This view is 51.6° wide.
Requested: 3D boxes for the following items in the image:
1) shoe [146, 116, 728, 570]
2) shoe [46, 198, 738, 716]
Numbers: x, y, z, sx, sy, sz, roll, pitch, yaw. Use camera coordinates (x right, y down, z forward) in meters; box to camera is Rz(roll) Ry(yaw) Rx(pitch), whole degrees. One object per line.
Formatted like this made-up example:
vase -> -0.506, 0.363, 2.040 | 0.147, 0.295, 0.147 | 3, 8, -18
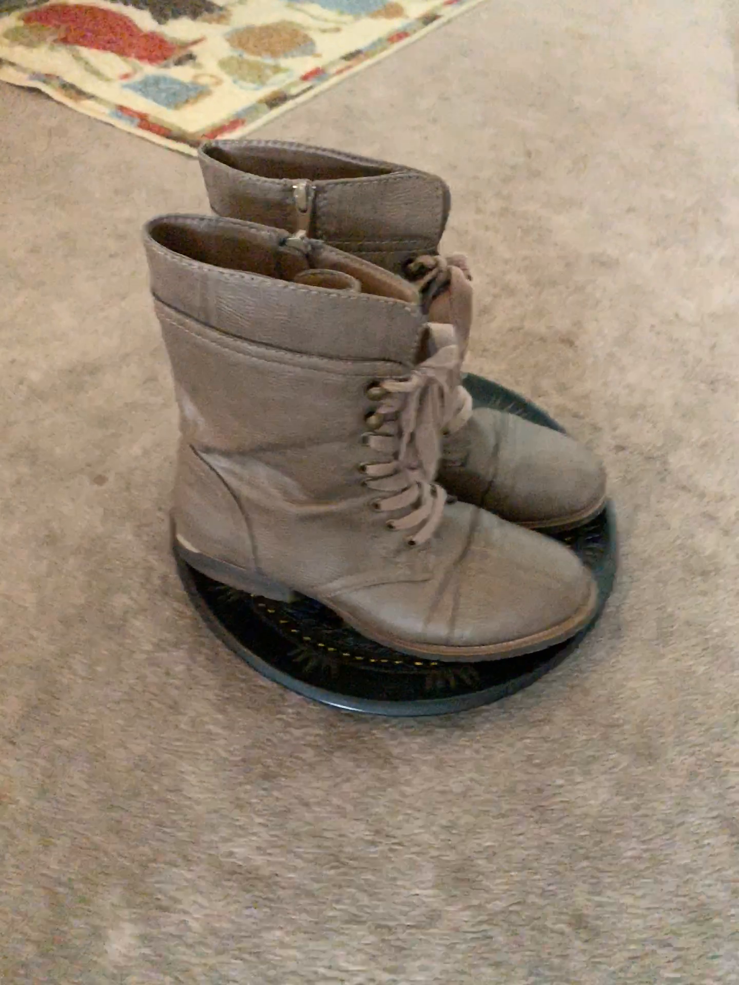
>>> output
shoe -> 0.032, -0.081, 0.455 | 0.270, 0.198, 0.101 | 13, 50, 7
shoe -> 0.013, -0.009, 0.387 | 0.270, 0.198, 0.101 | 13, 50, 7
